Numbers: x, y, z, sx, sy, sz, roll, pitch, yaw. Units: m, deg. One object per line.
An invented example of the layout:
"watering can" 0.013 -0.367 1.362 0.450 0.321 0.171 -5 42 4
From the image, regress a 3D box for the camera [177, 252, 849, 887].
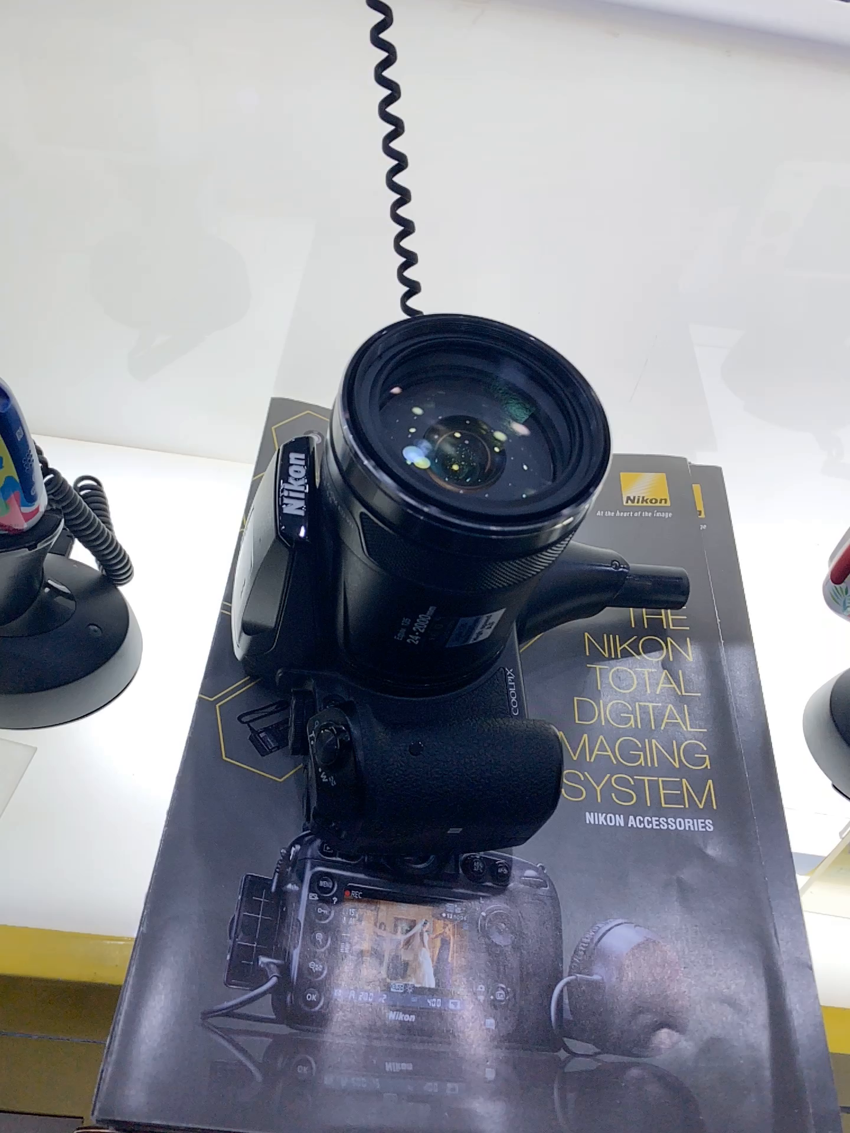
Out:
"camera" 0.038 0.009 0.265 0.200 0.100 0.140 7 51 -16
